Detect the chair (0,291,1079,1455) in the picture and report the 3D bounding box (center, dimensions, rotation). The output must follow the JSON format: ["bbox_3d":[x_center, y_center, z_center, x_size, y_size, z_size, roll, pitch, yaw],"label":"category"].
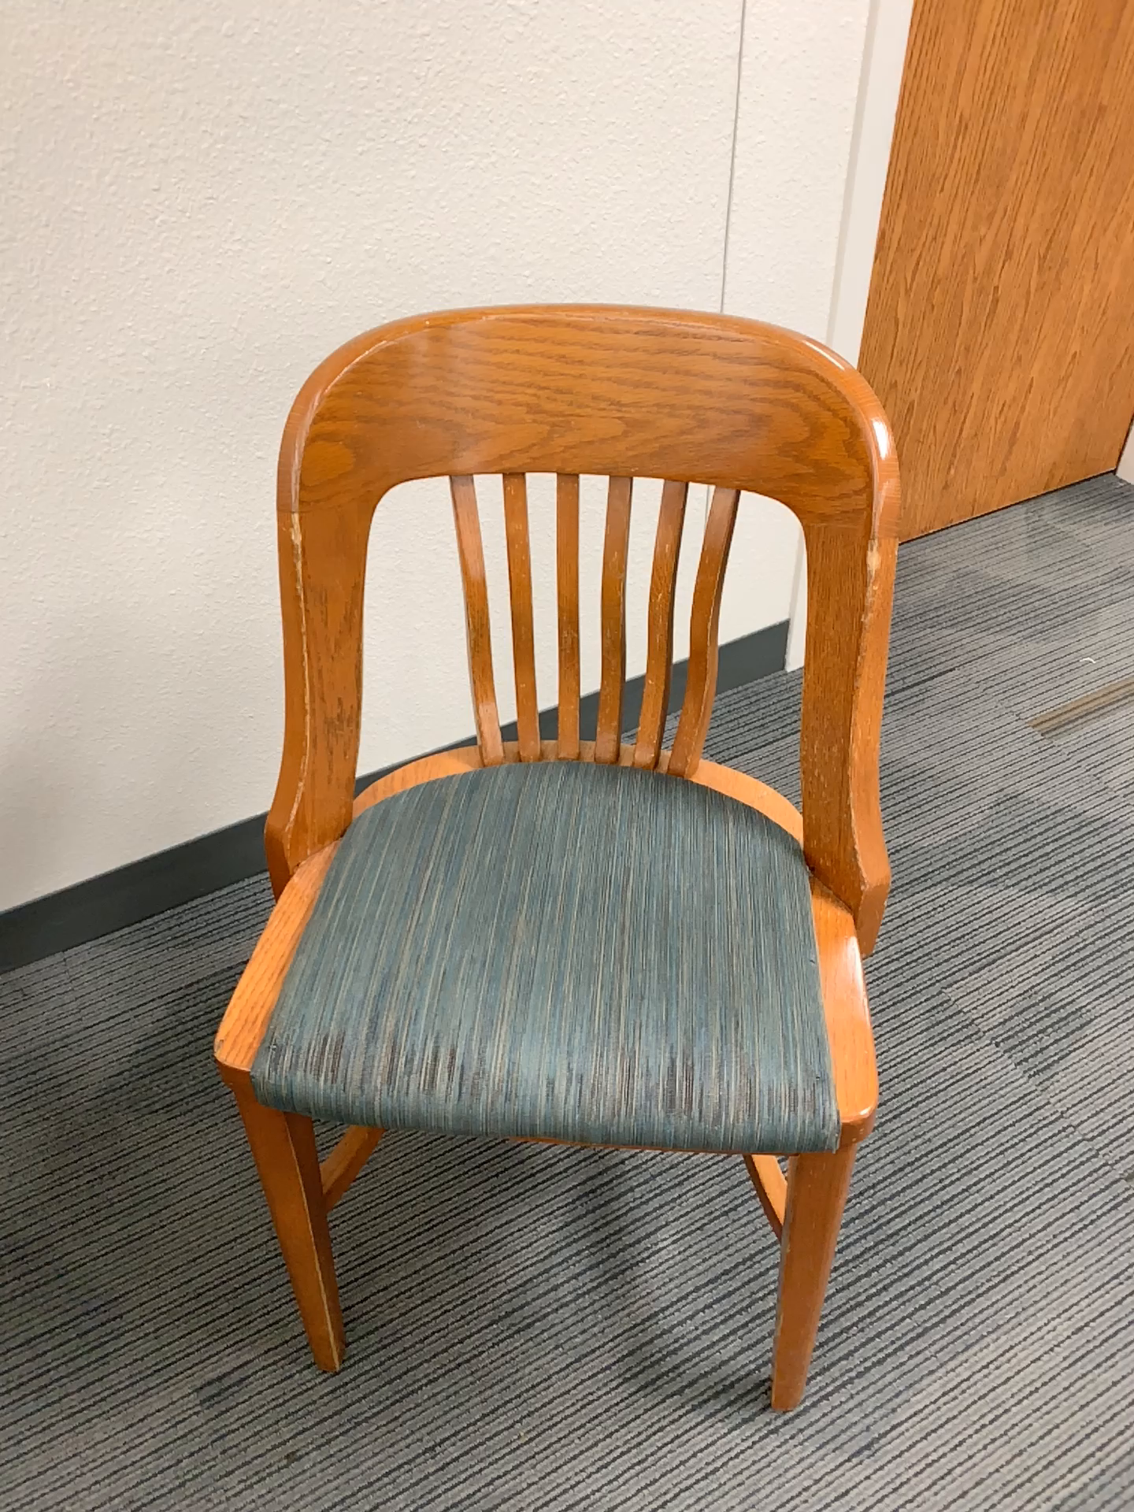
[{"bbox_3d":[-0.018,0.098,0.993,0.550,0.747,0.623,3,42,5],"label":"chair"}]
